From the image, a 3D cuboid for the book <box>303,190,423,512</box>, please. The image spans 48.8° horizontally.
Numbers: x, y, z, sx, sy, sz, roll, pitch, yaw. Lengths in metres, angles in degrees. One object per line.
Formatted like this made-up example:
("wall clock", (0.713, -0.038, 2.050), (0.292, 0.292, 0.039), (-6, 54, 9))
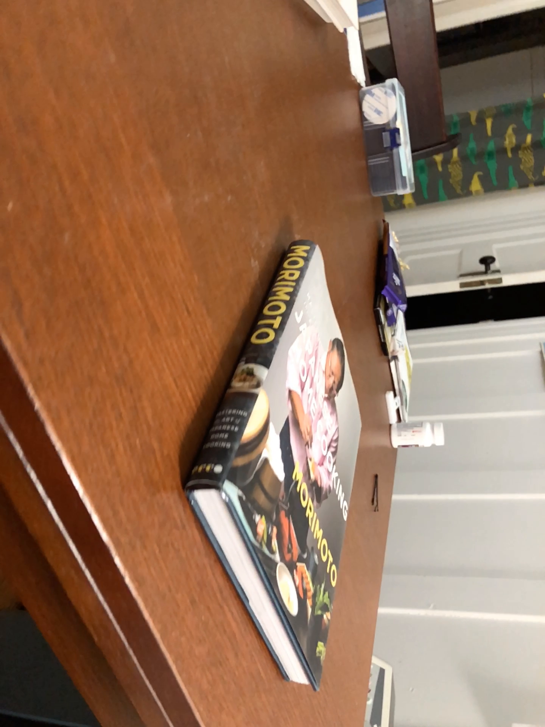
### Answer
("book", (0.098, -0.040, 0.546), (0.301, 0.030, 0.220), (-42, 125, -66))
